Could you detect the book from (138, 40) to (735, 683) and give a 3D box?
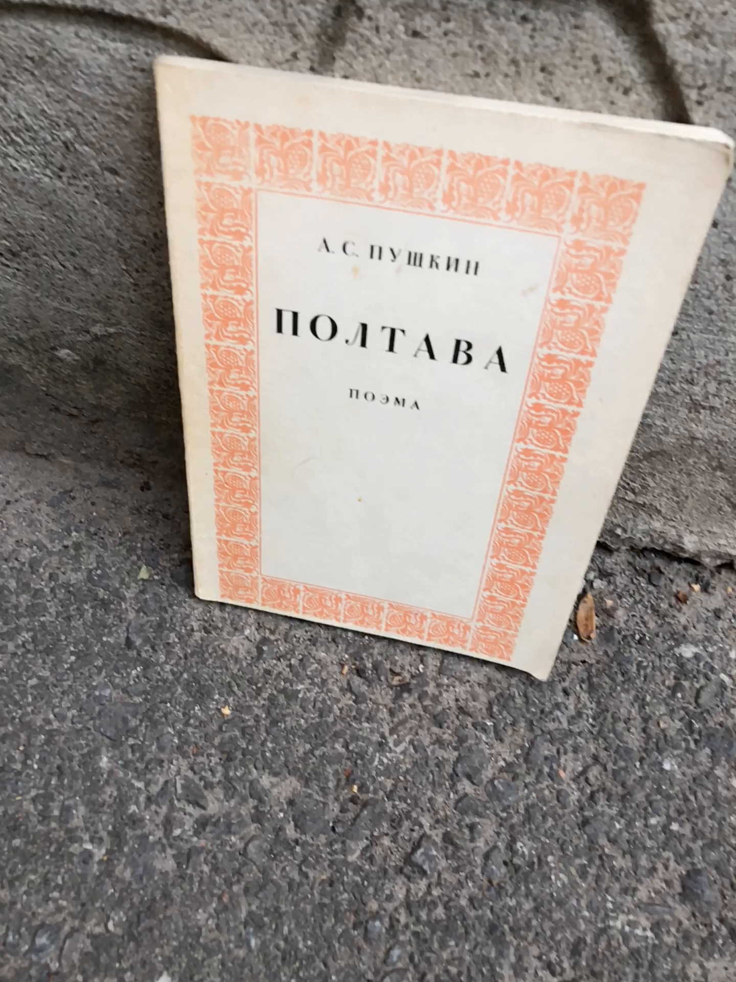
[{"bbox_3d":[0.009,-0.024,0.268,0.150,0.199,0.020,12,40,7],"label":"book"}]
